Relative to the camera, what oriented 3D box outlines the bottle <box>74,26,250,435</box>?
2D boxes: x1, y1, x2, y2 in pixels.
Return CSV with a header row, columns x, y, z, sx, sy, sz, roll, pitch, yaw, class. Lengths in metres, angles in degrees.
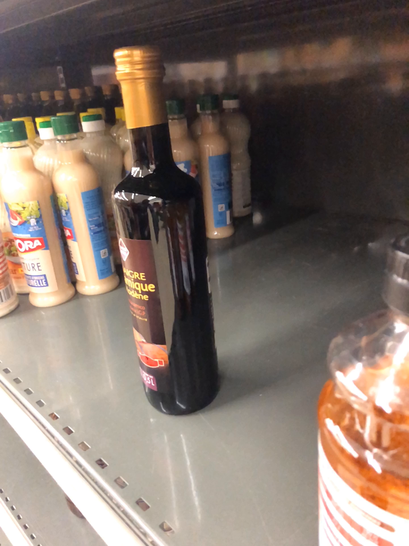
x,y,z,sx,sy,sz,roll,pitch,yaw,class
-0.023,-0.023,0.329,0.070,0.269,0.070,-5,22,2,bottle
